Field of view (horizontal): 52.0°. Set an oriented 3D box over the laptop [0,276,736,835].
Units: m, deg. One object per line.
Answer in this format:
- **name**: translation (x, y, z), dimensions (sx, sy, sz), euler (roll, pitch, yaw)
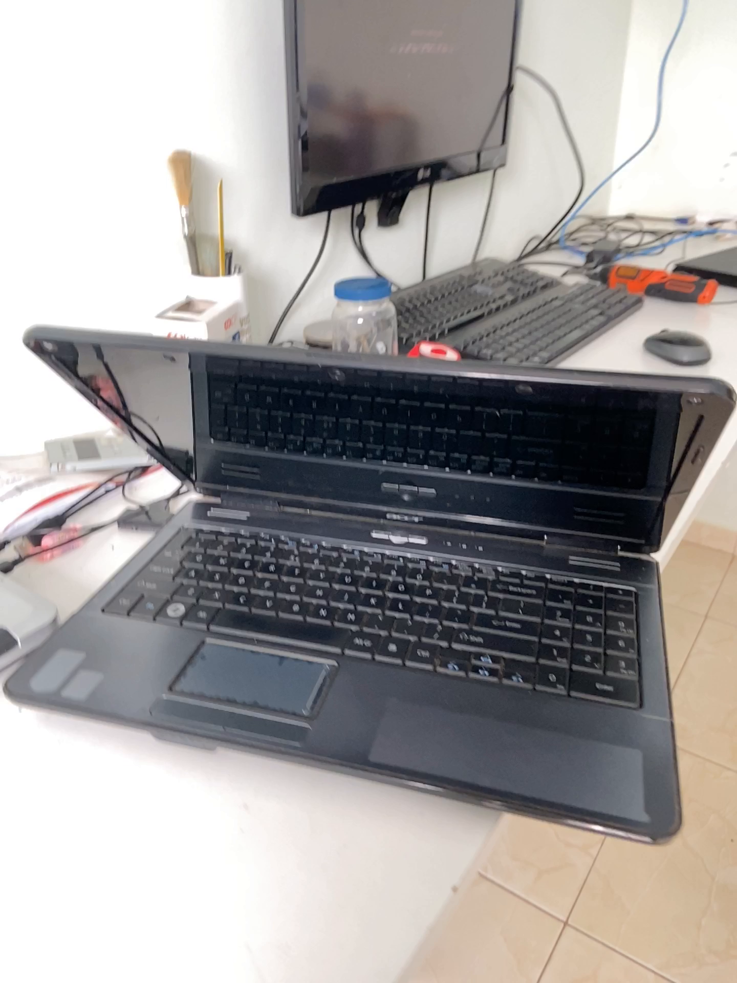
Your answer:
- **laptop**: translation (-0.005, 0.000, 0.448), dimensions (0.366, 0.183, 0.234), euler (7, 30, 15)
